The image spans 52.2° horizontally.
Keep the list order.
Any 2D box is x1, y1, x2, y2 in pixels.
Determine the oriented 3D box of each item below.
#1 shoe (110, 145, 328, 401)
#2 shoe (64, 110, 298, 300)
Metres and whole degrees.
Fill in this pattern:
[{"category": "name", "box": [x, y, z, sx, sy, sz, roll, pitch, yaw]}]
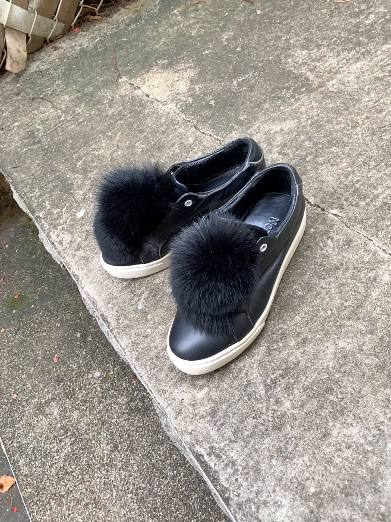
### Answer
[{"category": "shoe", "box": [0.040, 0.003, 0.427, 0.098, 0.097, 0.243, 24, 66, 31]}, {"category": "shoe", "box": [-0.015, -0.071, 0.514, 0.269, 0.097, 0.095, -27, 52, -2]}]
